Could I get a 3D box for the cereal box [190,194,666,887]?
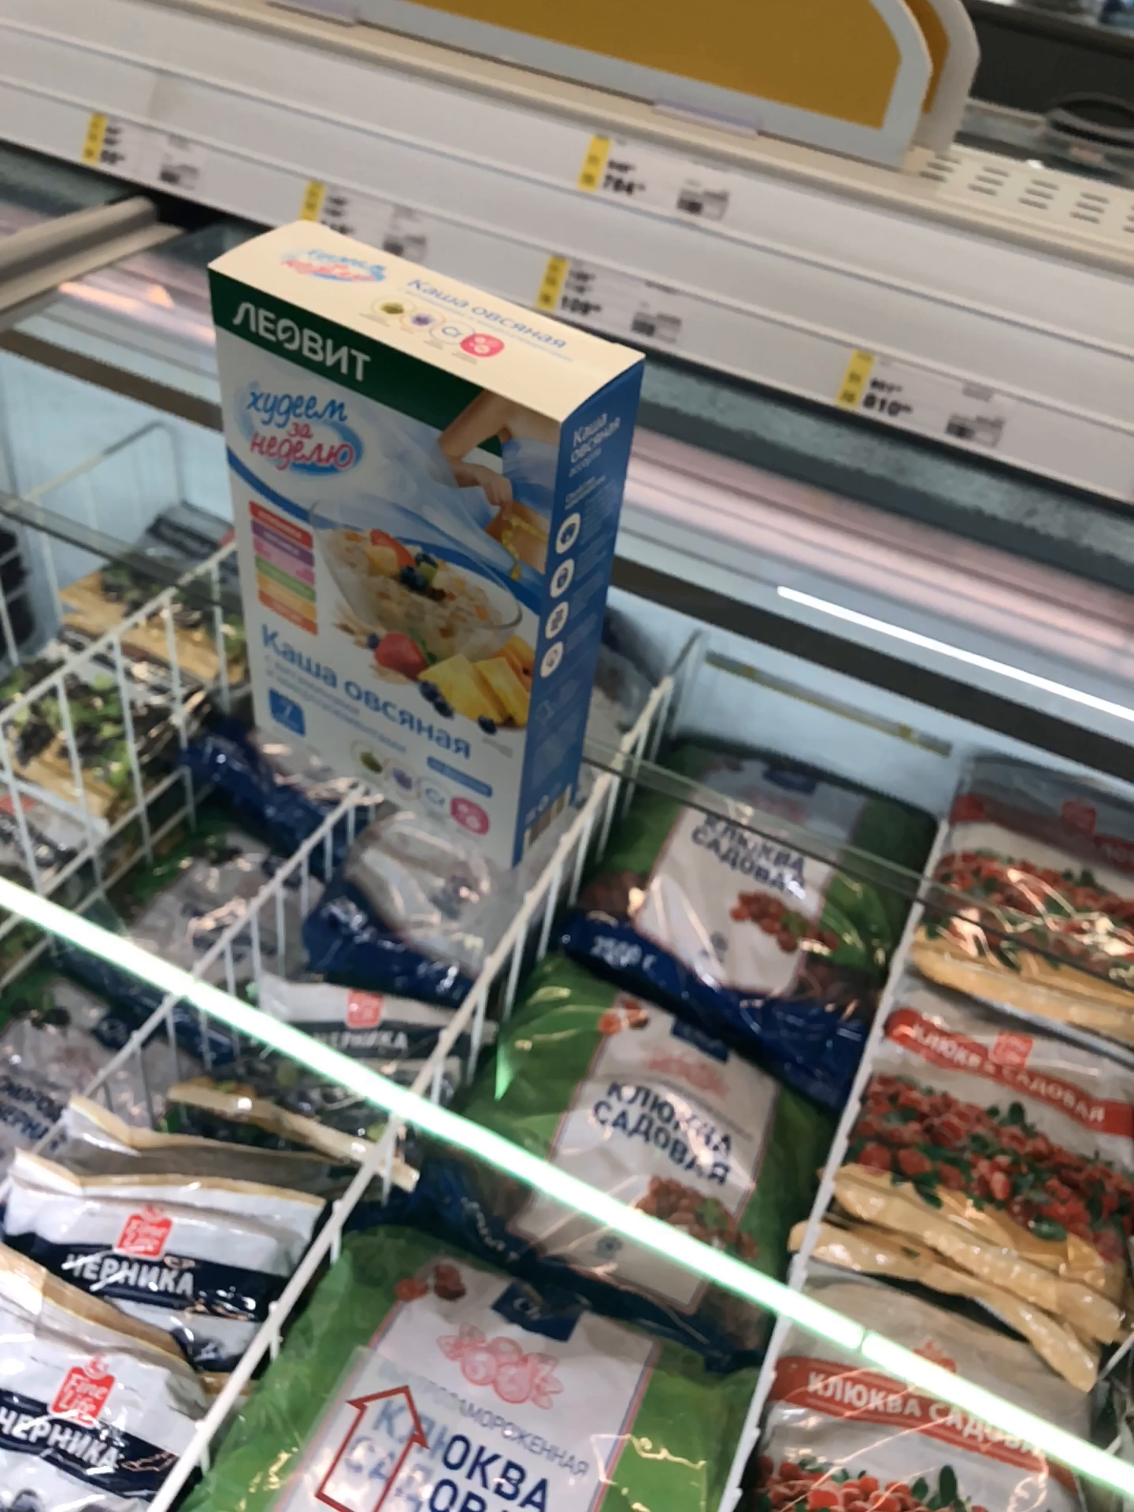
[{"bbox_3d":[-0.057,-0.074,0.496,0.150,0.228,0.060,28,49,19],"label":"cereal box"}]
